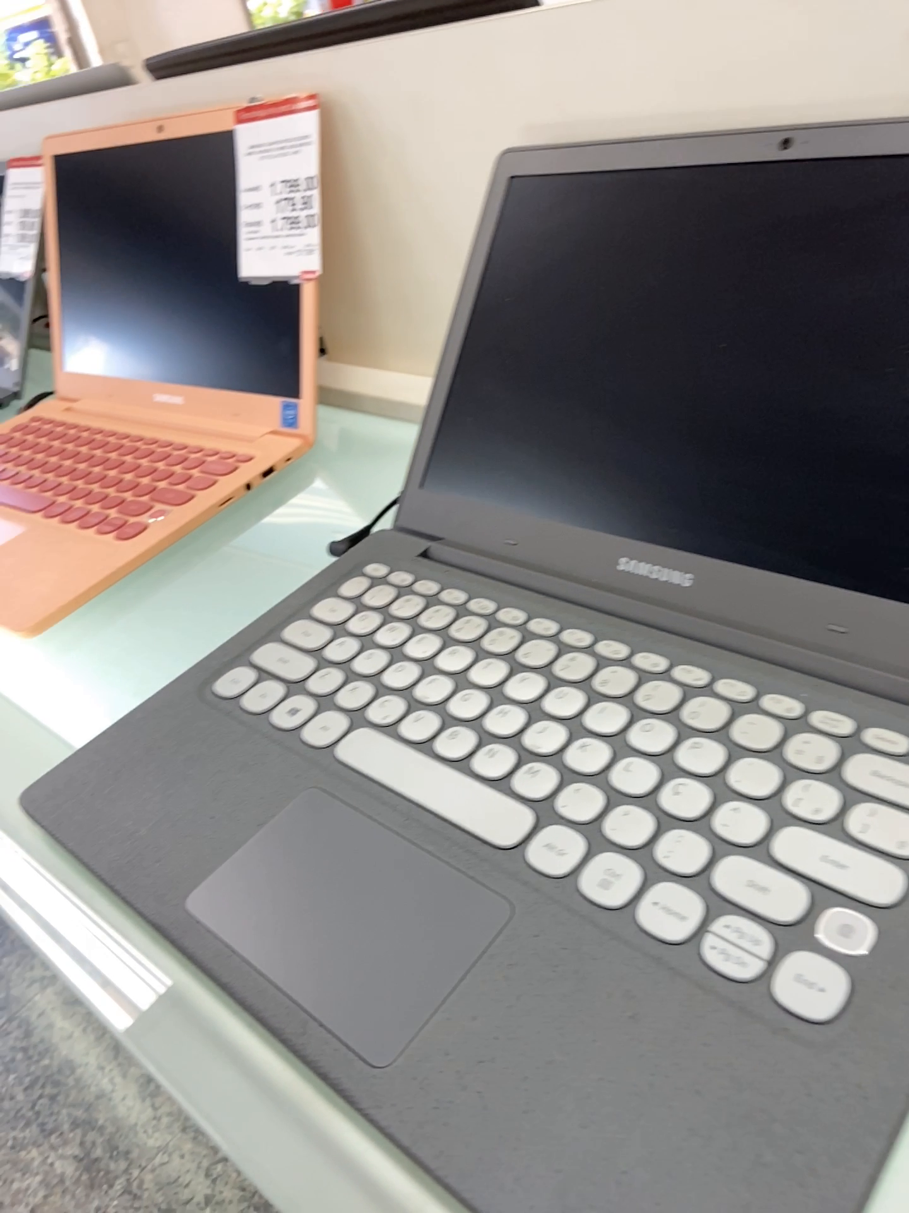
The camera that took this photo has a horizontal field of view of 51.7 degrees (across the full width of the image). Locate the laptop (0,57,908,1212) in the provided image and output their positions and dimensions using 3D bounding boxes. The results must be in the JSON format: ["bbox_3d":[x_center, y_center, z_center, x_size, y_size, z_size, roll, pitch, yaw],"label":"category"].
[{"bbox_3d":[0.040,-0.043,0.332,0.320,0.144,0.365,18,48,40],"label":"laptop"}]
